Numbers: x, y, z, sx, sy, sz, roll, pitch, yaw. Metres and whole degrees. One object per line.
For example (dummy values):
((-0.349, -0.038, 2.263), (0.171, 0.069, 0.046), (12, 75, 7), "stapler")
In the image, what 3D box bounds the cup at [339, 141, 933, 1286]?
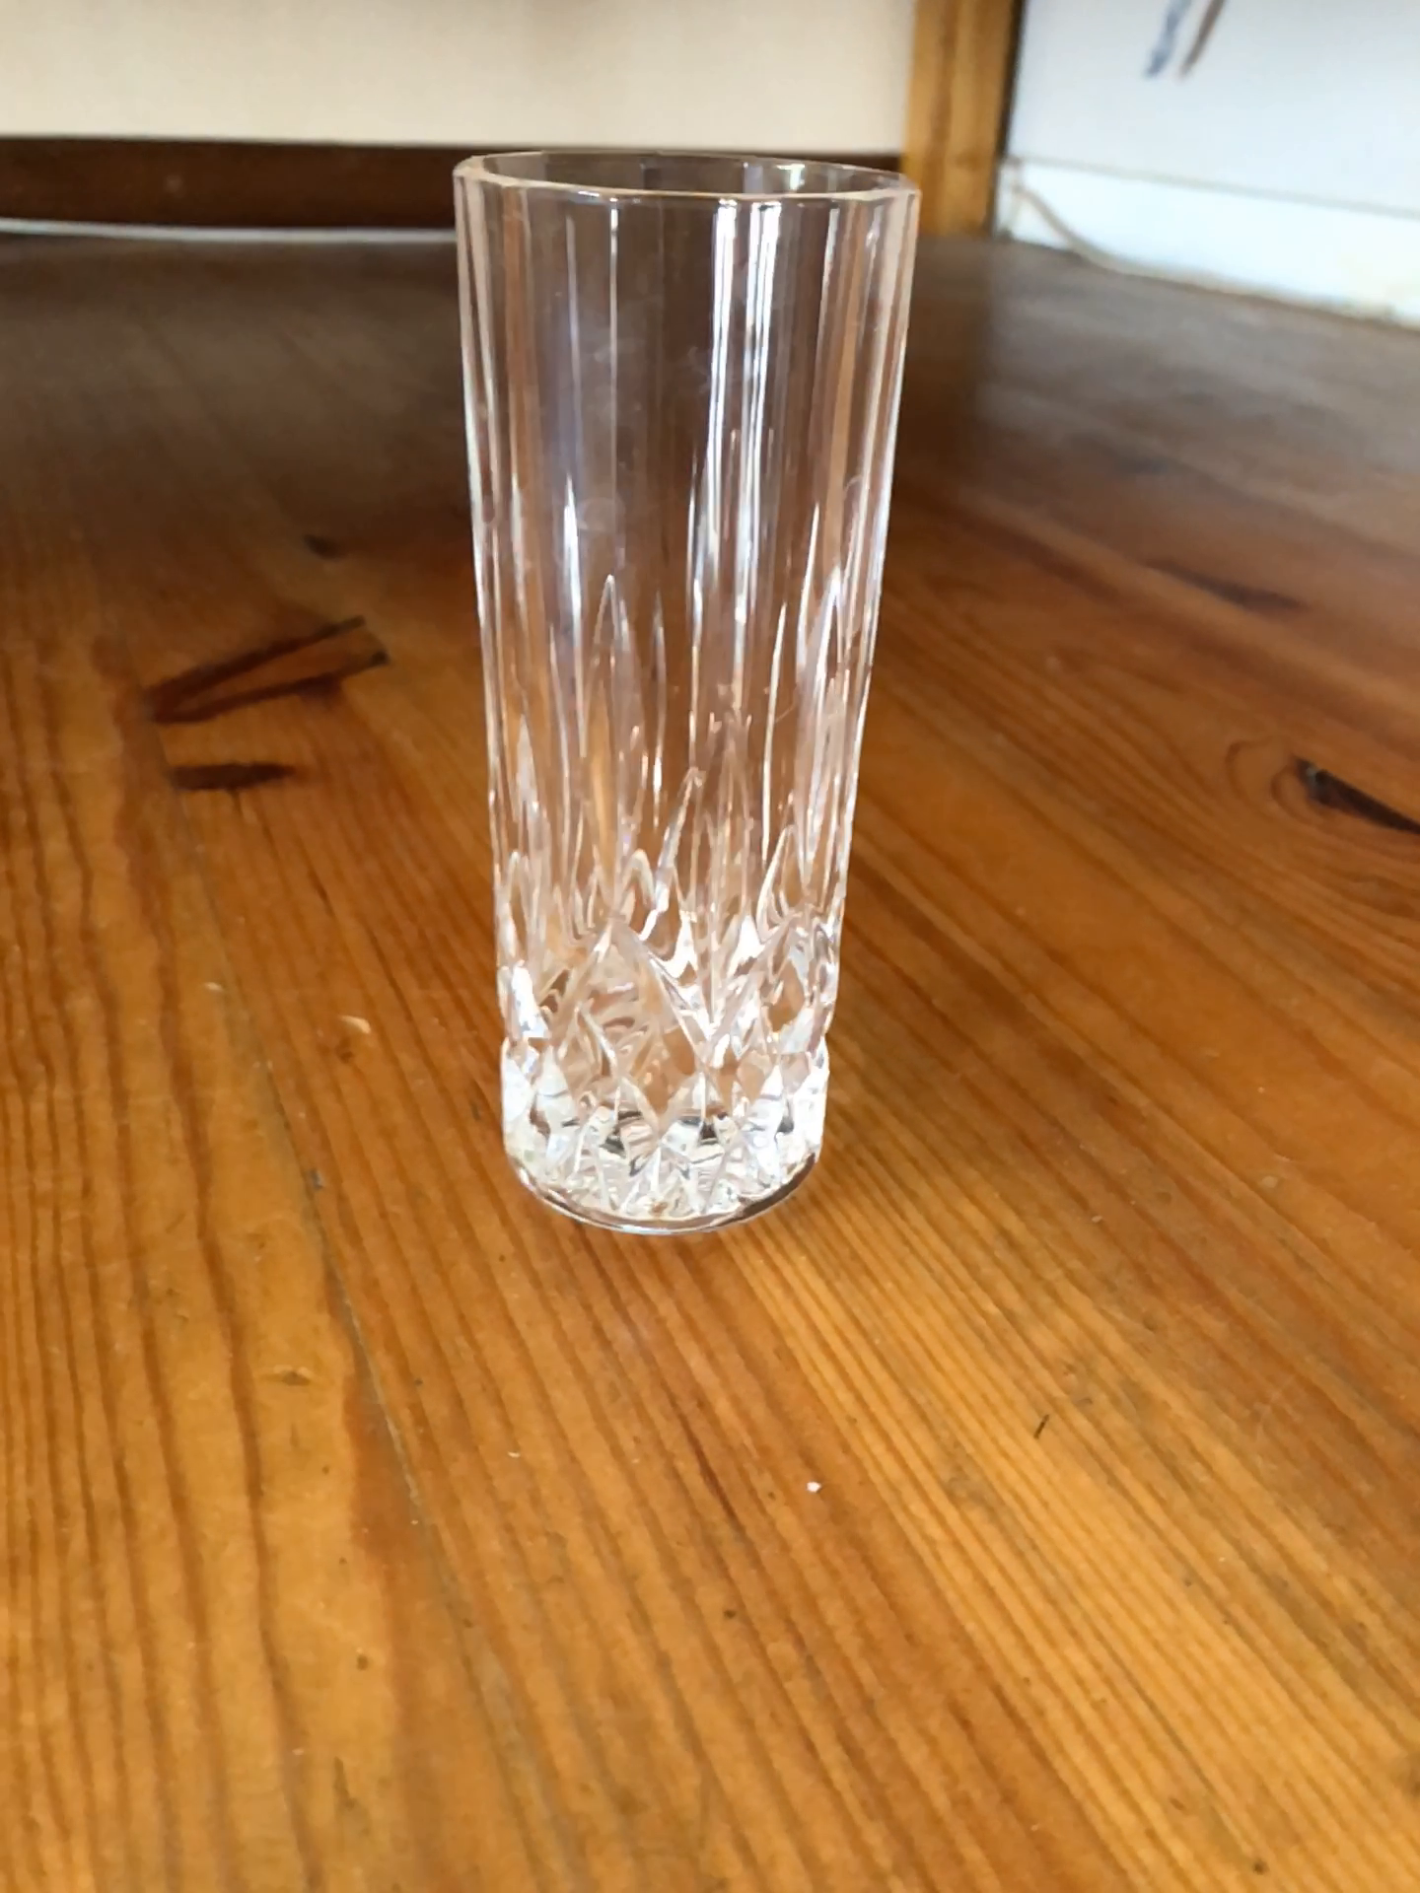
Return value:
((-0.008, -0.032, 0.229), (0.059, 0.144, 0.064), (3, 30, -1), "cup")
